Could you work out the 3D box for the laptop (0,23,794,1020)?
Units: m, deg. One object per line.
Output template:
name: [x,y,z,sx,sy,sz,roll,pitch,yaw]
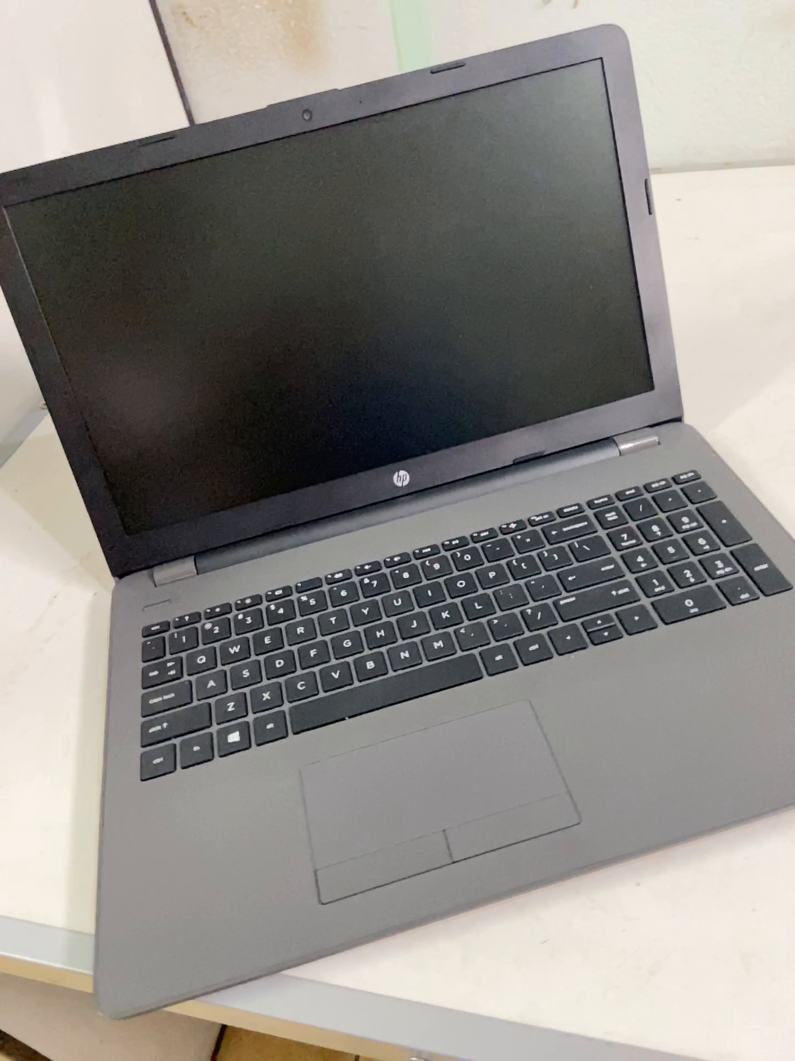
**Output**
laptop: [0.005,-0.049,0.402,0.380,0.206,0.366,-16,44,-3]
